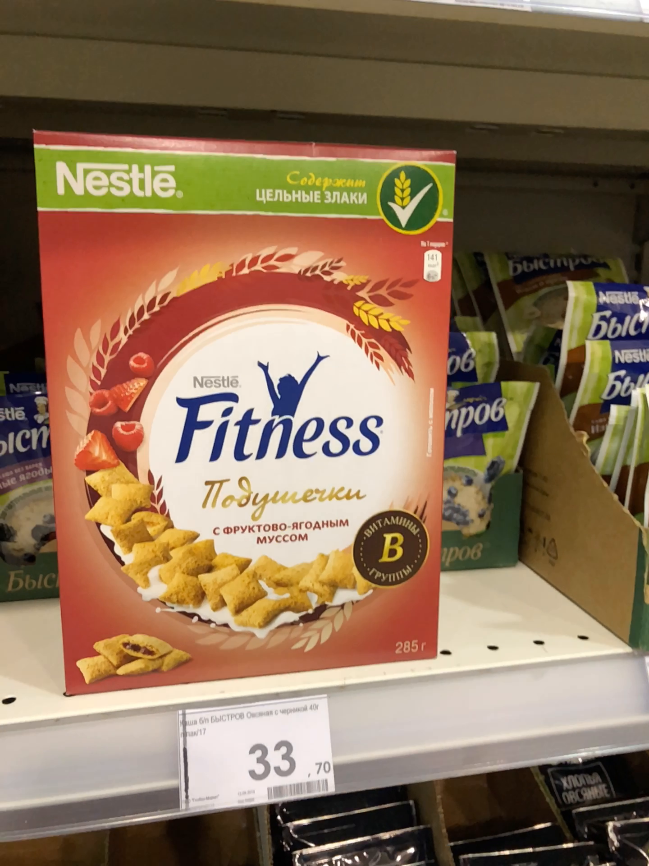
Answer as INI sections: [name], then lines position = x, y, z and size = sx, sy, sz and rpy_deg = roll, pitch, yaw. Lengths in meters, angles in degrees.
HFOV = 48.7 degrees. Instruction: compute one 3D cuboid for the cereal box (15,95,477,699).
[cereal box]
position = -0.031, -0.013, 0.325
size = 0.180, 0.239, 0.050
rpy_deg = -2, 11, -12
